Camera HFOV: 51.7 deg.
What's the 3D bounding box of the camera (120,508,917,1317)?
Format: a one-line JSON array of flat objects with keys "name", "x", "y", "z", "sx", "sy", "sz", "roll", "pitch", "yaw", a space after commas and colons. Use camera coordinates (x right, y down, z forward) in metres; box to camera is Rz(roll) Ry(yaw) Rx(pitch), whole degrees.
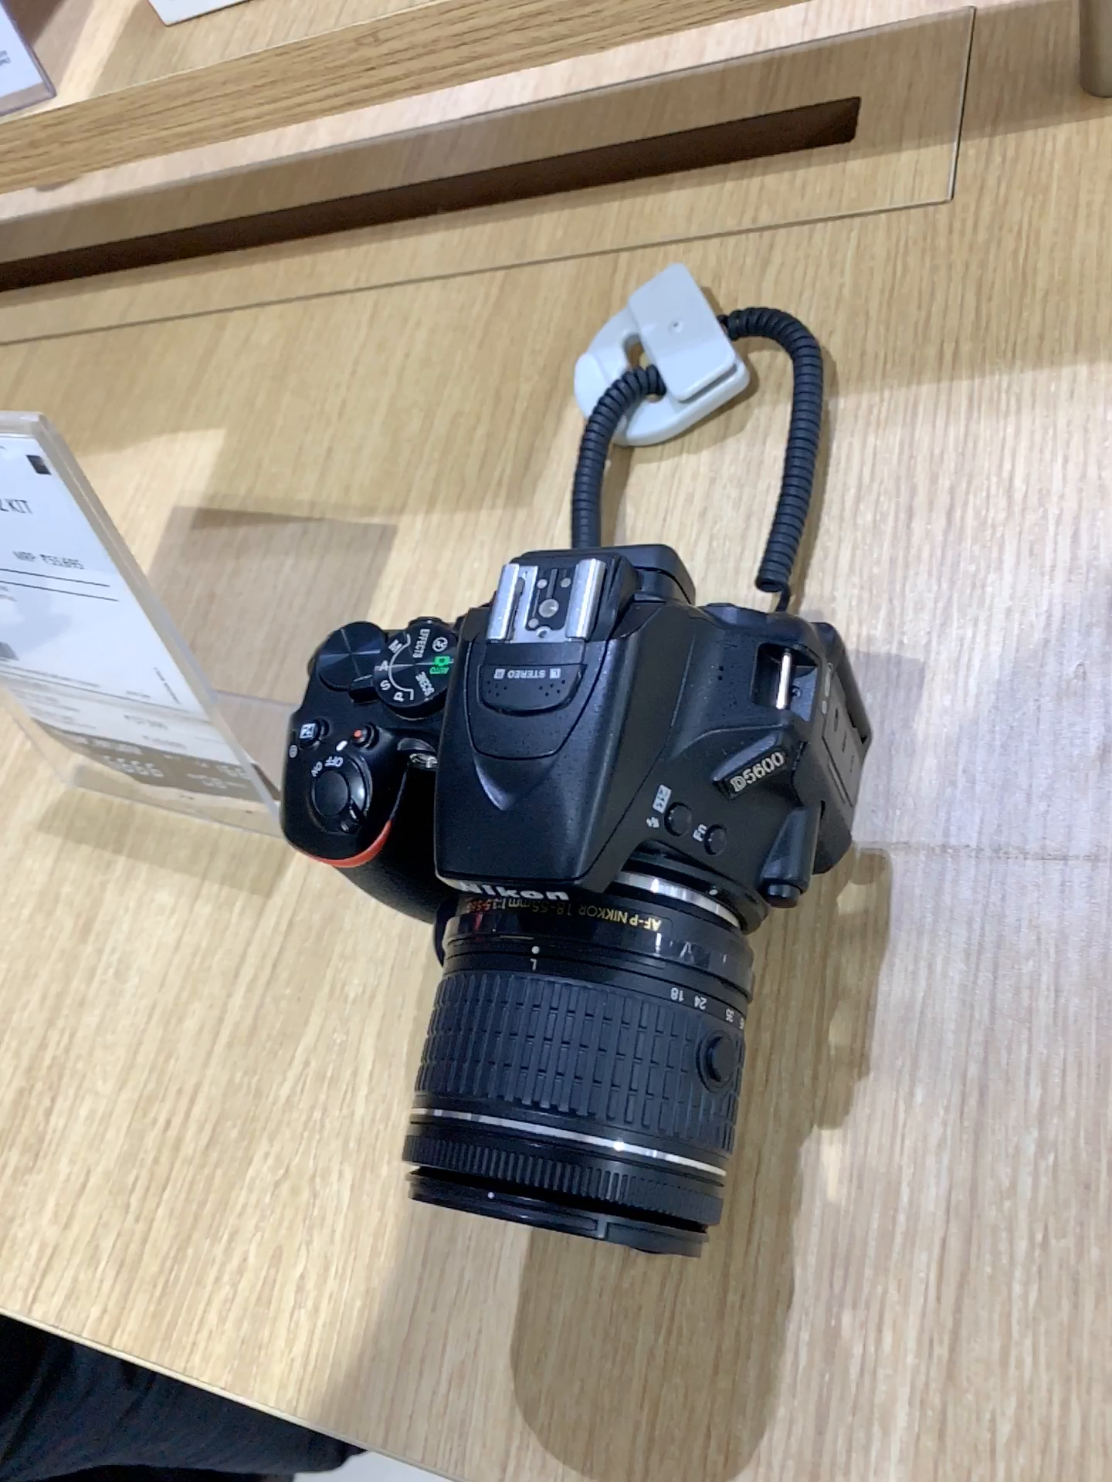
[{"name": "camera", "x": 0.004, "y": 0.033, "z": 0.221, "sx": 0.110, "sy": 0.080, "sz": 0.120, "roll": 0, "pitch": 65, "yaw": 24}]
